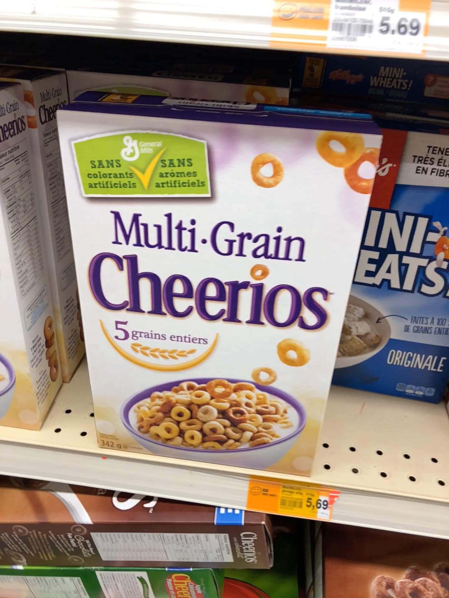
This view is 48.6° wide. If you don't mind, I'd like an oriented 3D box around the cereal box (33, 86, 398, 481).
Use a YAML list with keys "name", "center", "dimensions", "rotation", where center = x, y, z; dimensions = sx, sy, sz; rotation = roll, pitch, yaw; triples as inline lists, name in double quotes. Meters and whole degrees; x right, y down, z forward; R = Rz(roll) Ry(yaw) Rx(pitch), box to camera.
- name: "cereal box"
  center: [-0.011, 0.004, 0.368]
  dimensions: [0.200, 0.278, 0.060]
  rotation: [7, 32, 5]
